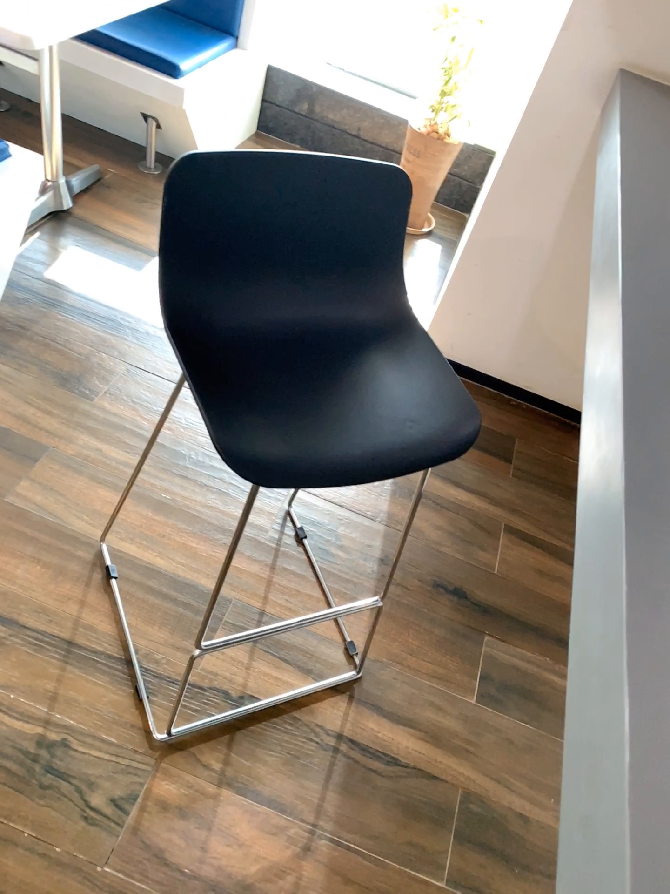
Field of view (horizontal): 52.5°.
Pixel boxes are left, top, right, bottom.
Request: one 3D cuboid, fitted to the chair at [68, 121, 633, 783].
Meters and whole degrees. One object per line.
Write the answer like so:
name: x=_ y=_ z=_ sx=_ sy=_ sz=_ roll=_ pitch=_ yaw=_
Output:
chair: x=-0.105 y=0.033 z=1.160 sx=0.541 sy=0.863 sz=0.593 roll=-9 pitch=51 yaw=-27
